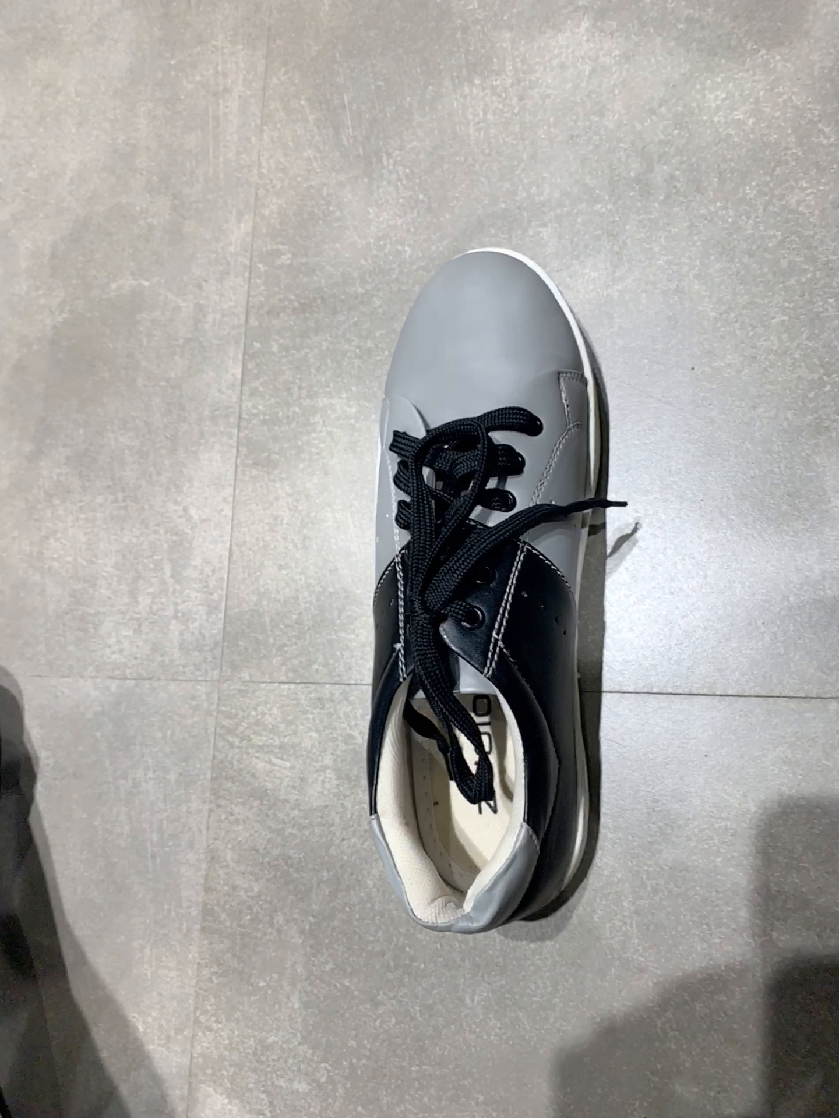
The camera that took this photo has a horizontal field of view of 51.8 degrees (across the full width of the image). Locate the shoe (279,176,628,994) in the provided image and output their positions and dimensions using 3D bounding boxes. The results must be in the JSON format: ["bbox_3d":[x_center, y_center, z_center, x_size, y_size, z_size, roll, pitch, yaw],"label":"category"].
[{"bbox_3d":[0.020,0.008,0.335,0.101,0.093,0.263,-3,78,20],"label":"shoe"}]
